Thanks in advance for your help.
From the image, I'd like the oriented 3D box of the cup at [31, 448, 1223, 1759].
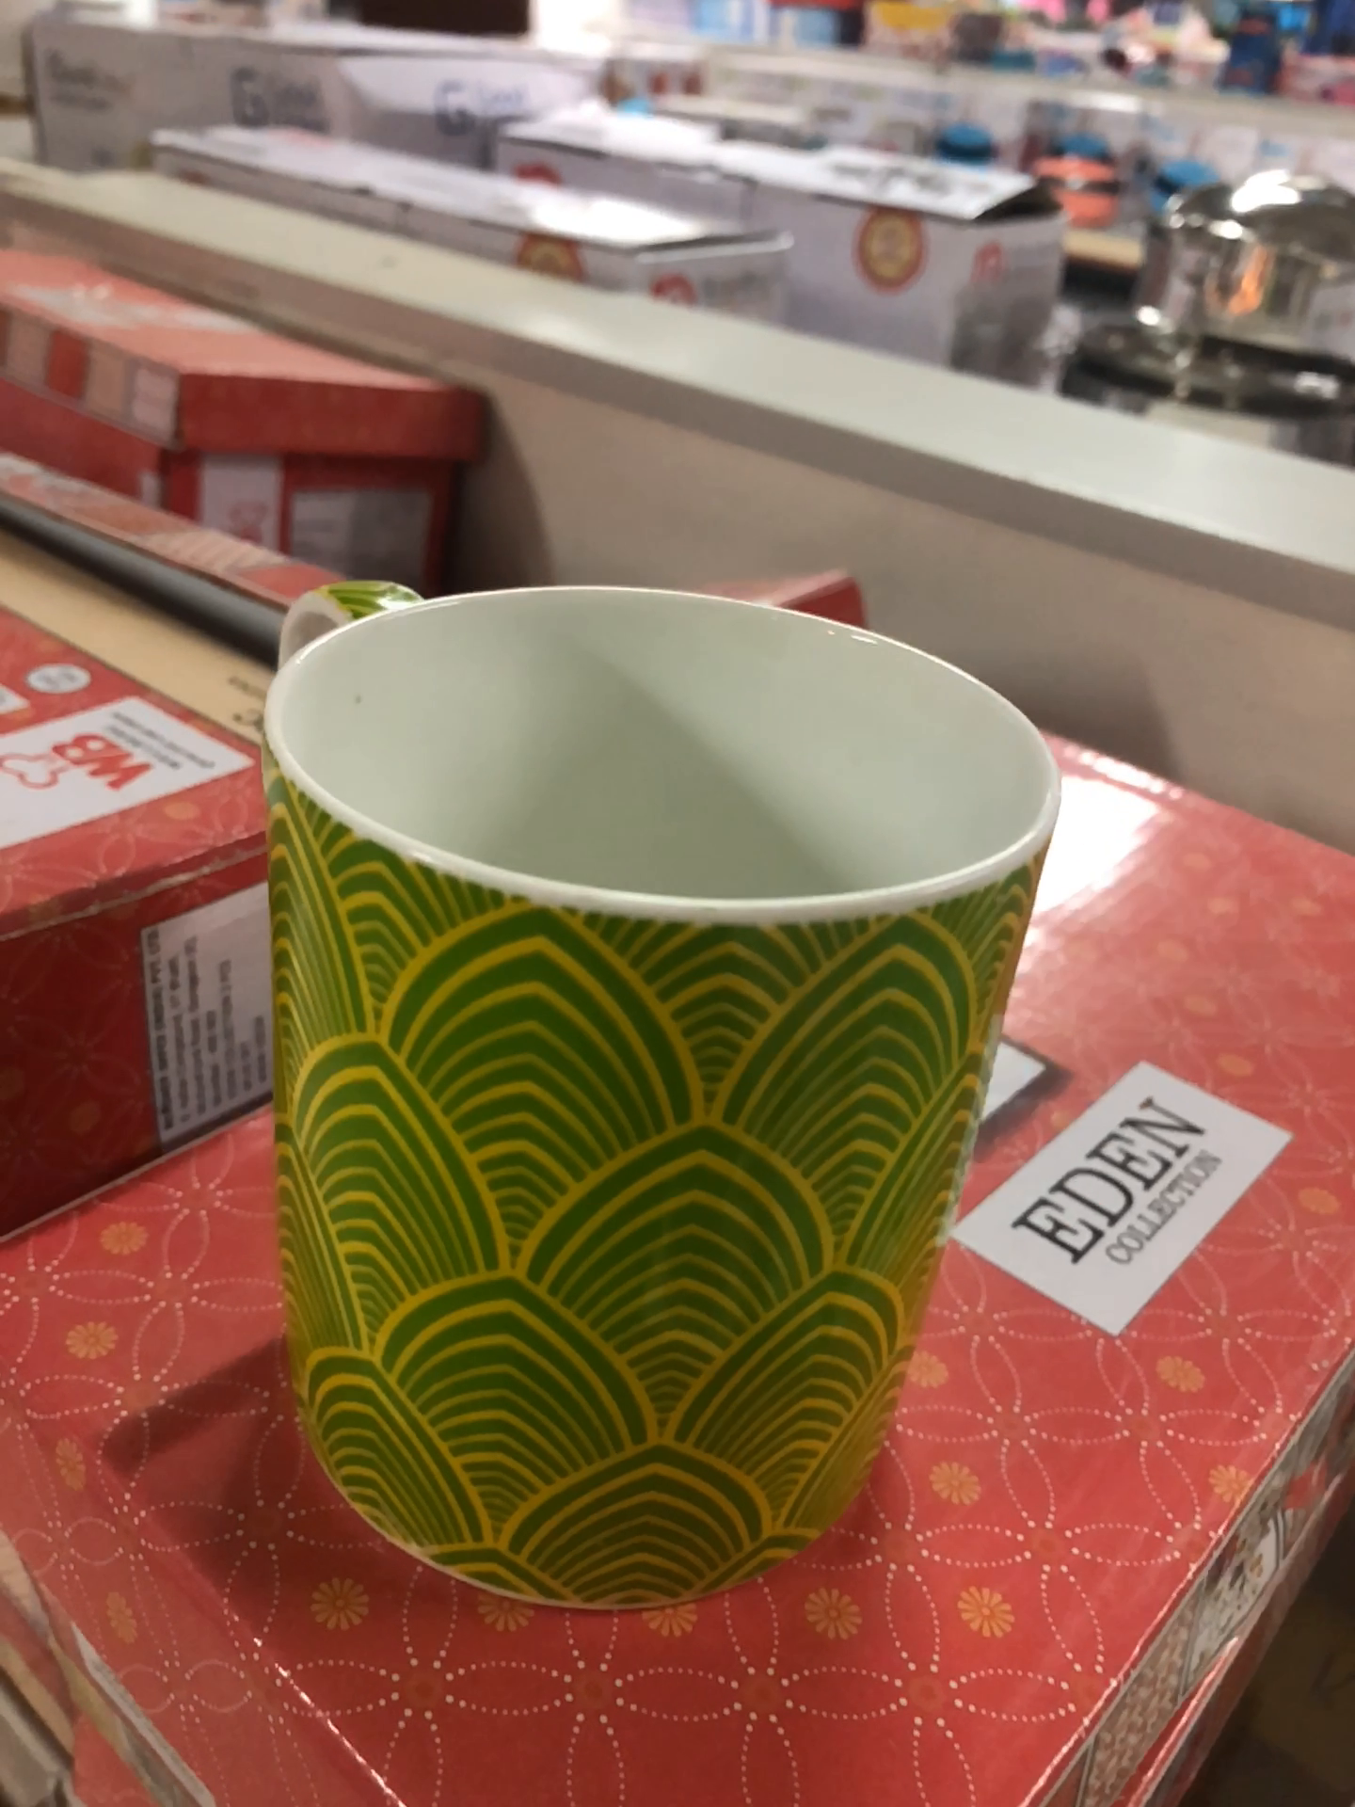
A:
[{"bbox_3d":[-0.010,0.010,0.167,0.090,0.089,0.070,30,38,35],"label":"cup"}]
